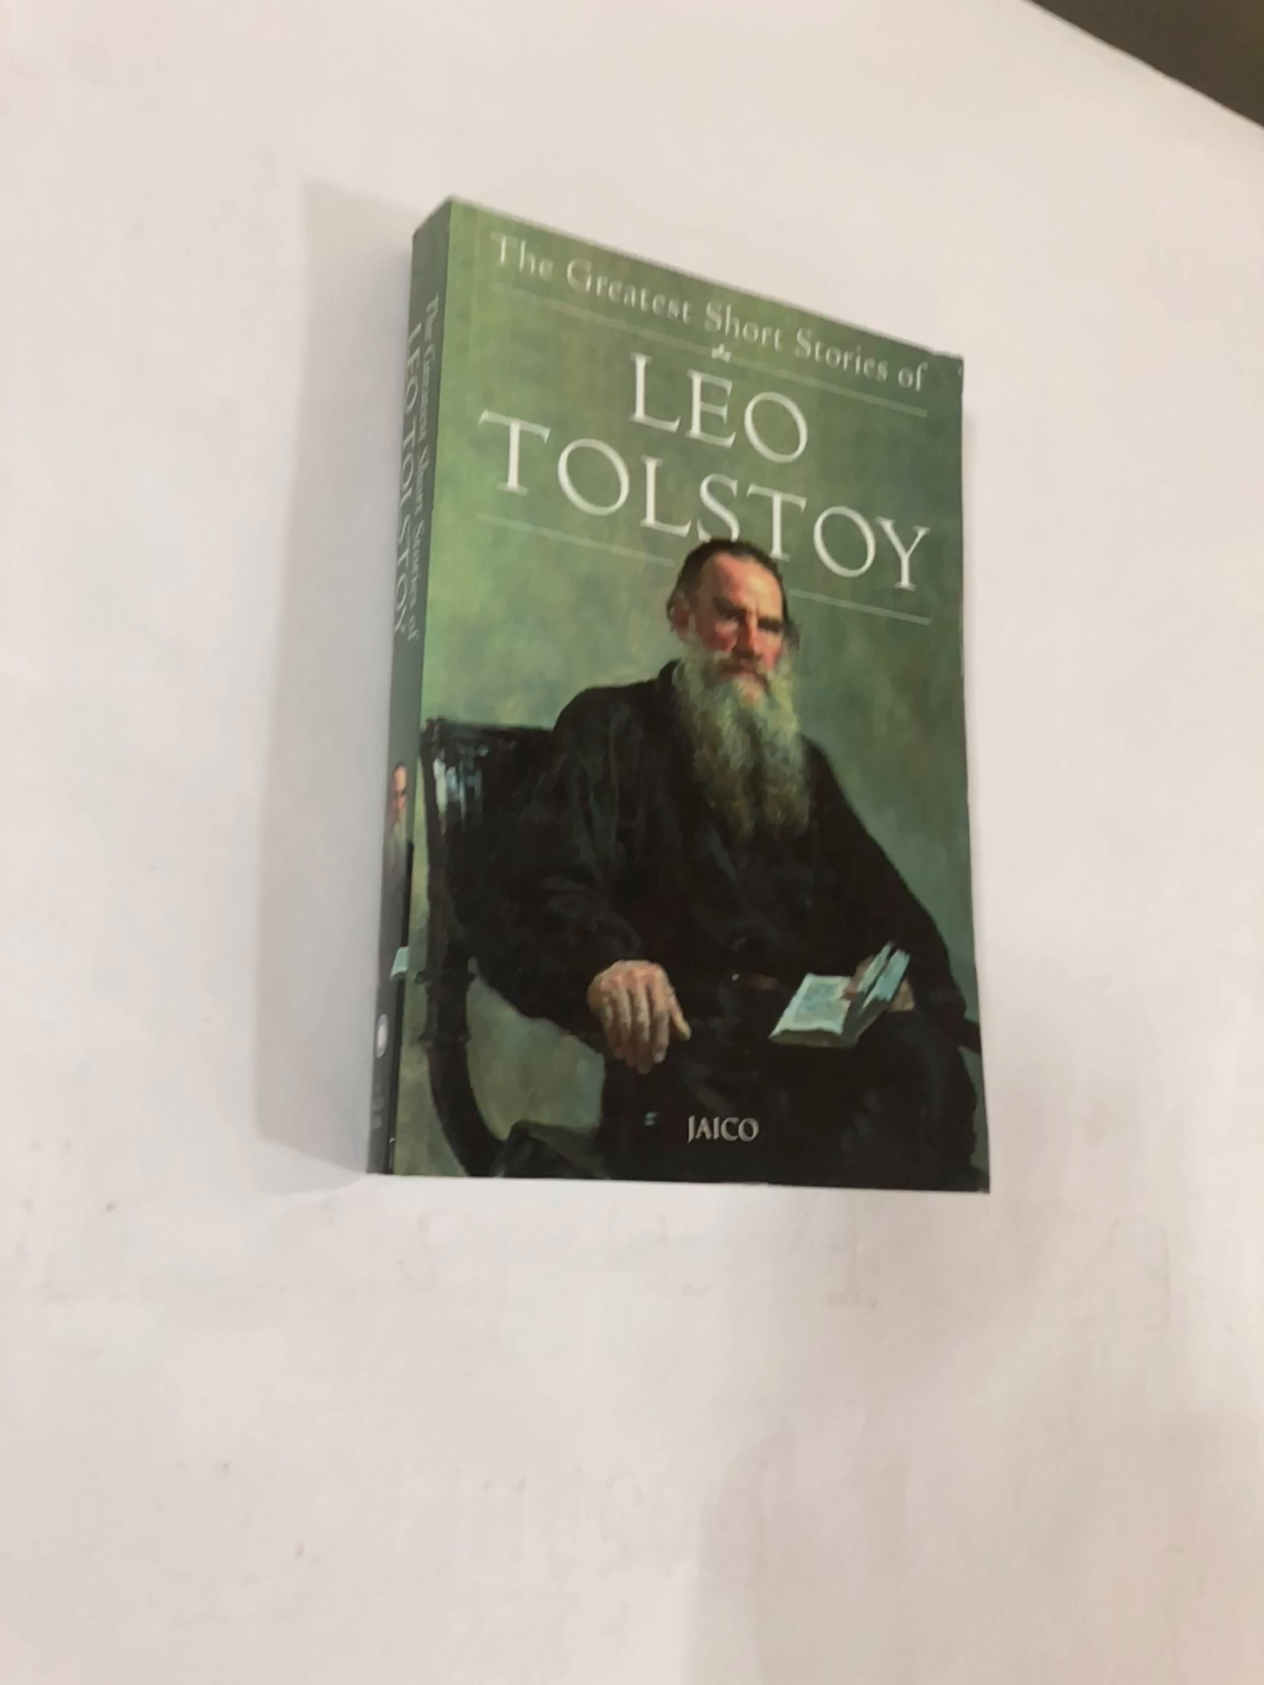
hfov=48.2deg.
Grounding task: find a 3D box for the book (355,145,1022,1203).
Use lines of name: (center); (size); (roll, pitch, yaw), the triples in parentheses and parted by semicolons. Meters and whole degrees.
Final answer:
book: (0.018, -0.035, 0.330); (0.150, 0.020, 0.230); (8, 73, -26)
